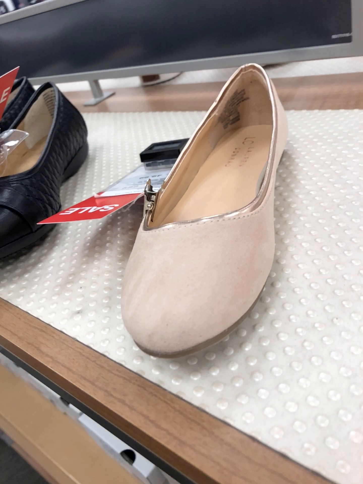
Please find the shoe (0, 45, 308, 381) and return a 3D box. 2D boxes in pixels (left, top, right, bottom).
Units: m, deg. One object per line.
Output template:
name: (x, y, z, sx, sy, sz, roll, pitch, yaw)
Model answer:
shoe: (0.015, -0.042, 0.236, 0.085, 0.064, 0.228, 0, 38, 25)
